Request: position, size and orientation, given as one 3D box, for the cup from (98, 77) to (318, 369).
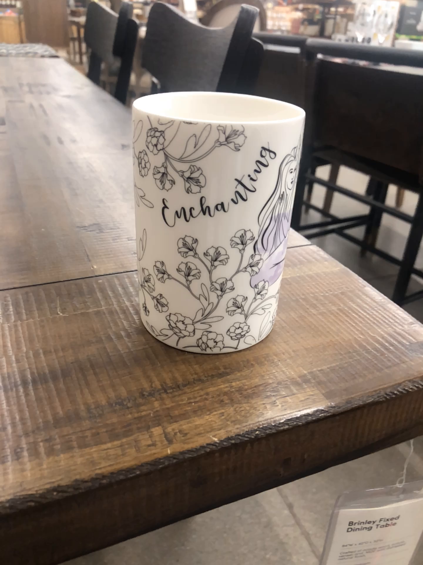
[{"bbox_3d":[0.006,-0.042,0.257,0.082,0.111,0.122,9,30,9],"label":"cup"}]
